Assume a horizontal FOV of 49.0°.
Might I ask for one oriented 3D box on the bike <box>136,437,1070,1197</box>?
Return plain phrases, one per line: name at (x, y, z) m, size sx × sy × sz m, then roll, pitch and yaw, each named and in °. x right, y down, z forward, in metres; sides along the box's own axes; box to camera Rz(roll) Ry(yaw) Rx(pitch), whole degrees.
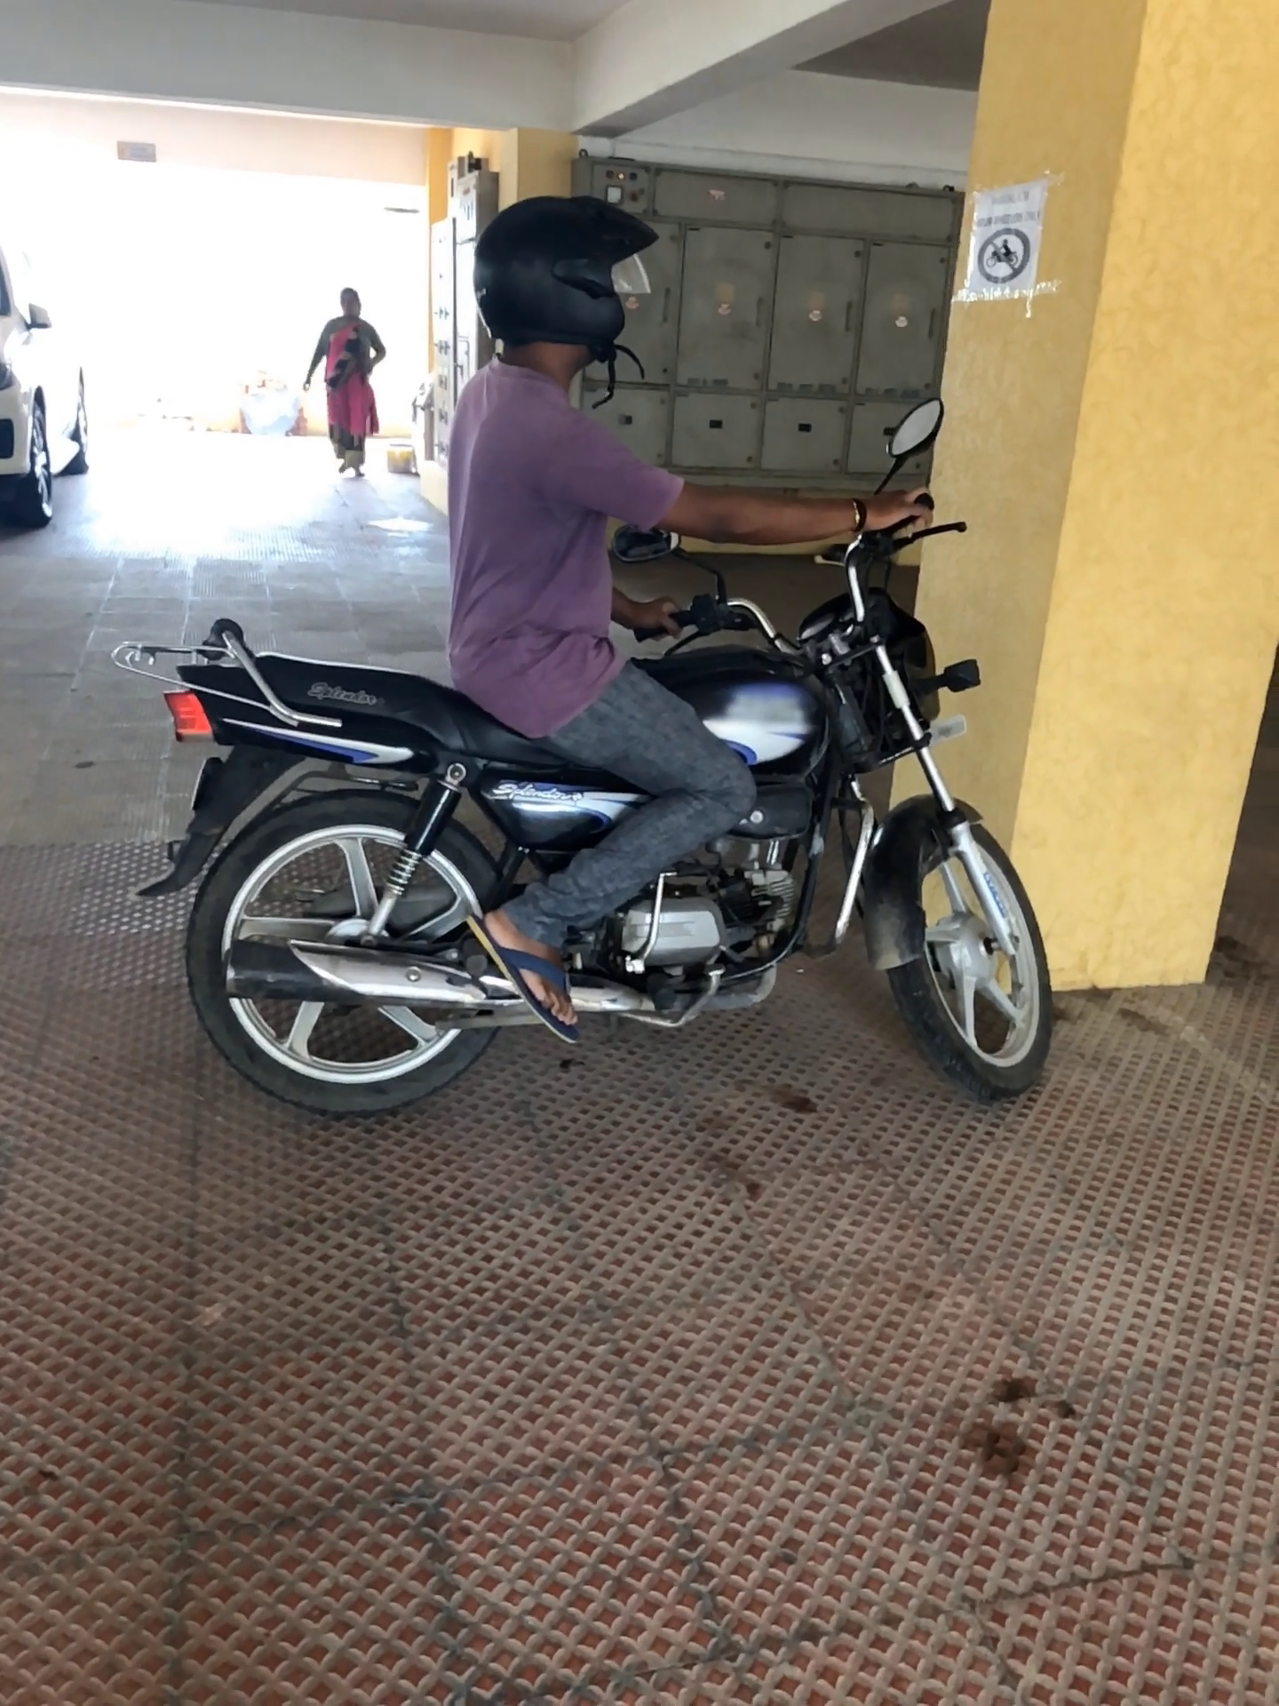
bike at (-0.101, -0.101, 2.791) m, size 1.543 × 1.195 × 0.769 m, roll 0°, pitch 20°, yaw -16°
